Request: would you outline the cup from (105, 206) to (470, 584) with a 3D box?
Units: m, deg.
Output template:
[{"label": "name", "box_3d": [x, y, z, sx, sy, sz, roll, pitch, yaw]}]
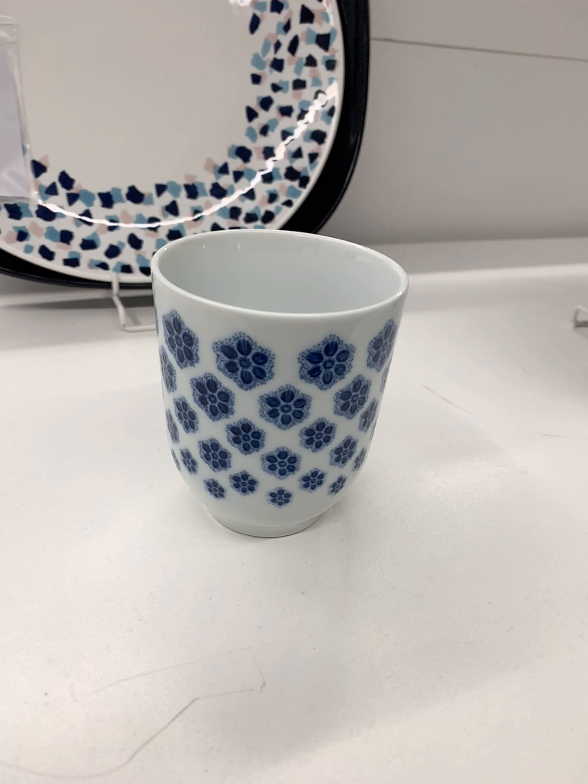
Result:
[{"label": "cup", "box_3d": [-0.004, -0.008, 0.196, 0.080, 0.080, 0.070, 24, 34, 32]}]
